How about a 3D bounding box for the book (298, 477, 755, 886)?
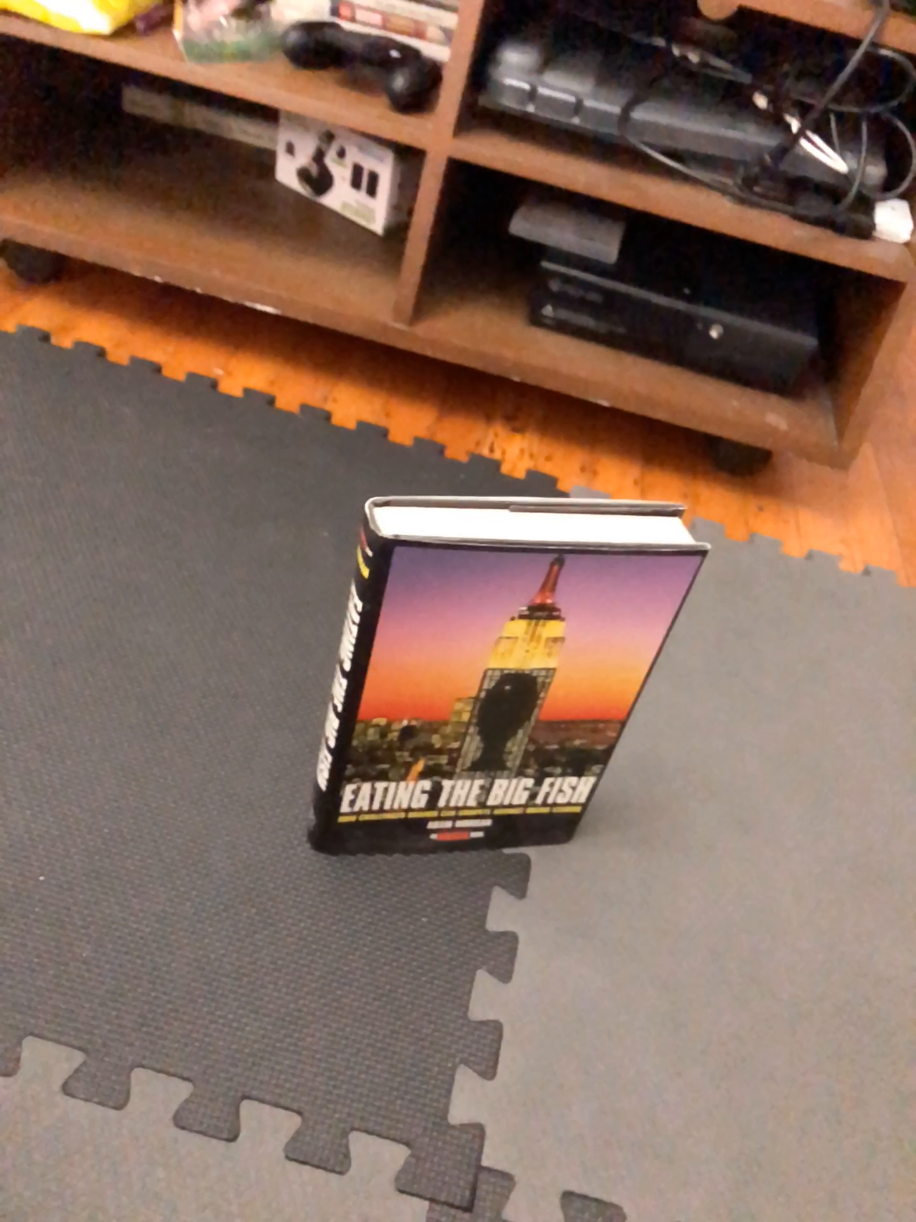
[{"bbox_3d":[0.019,0.048,0.543,0.180,0.259,0.050,-1,45,-17],"label":"book"}]
